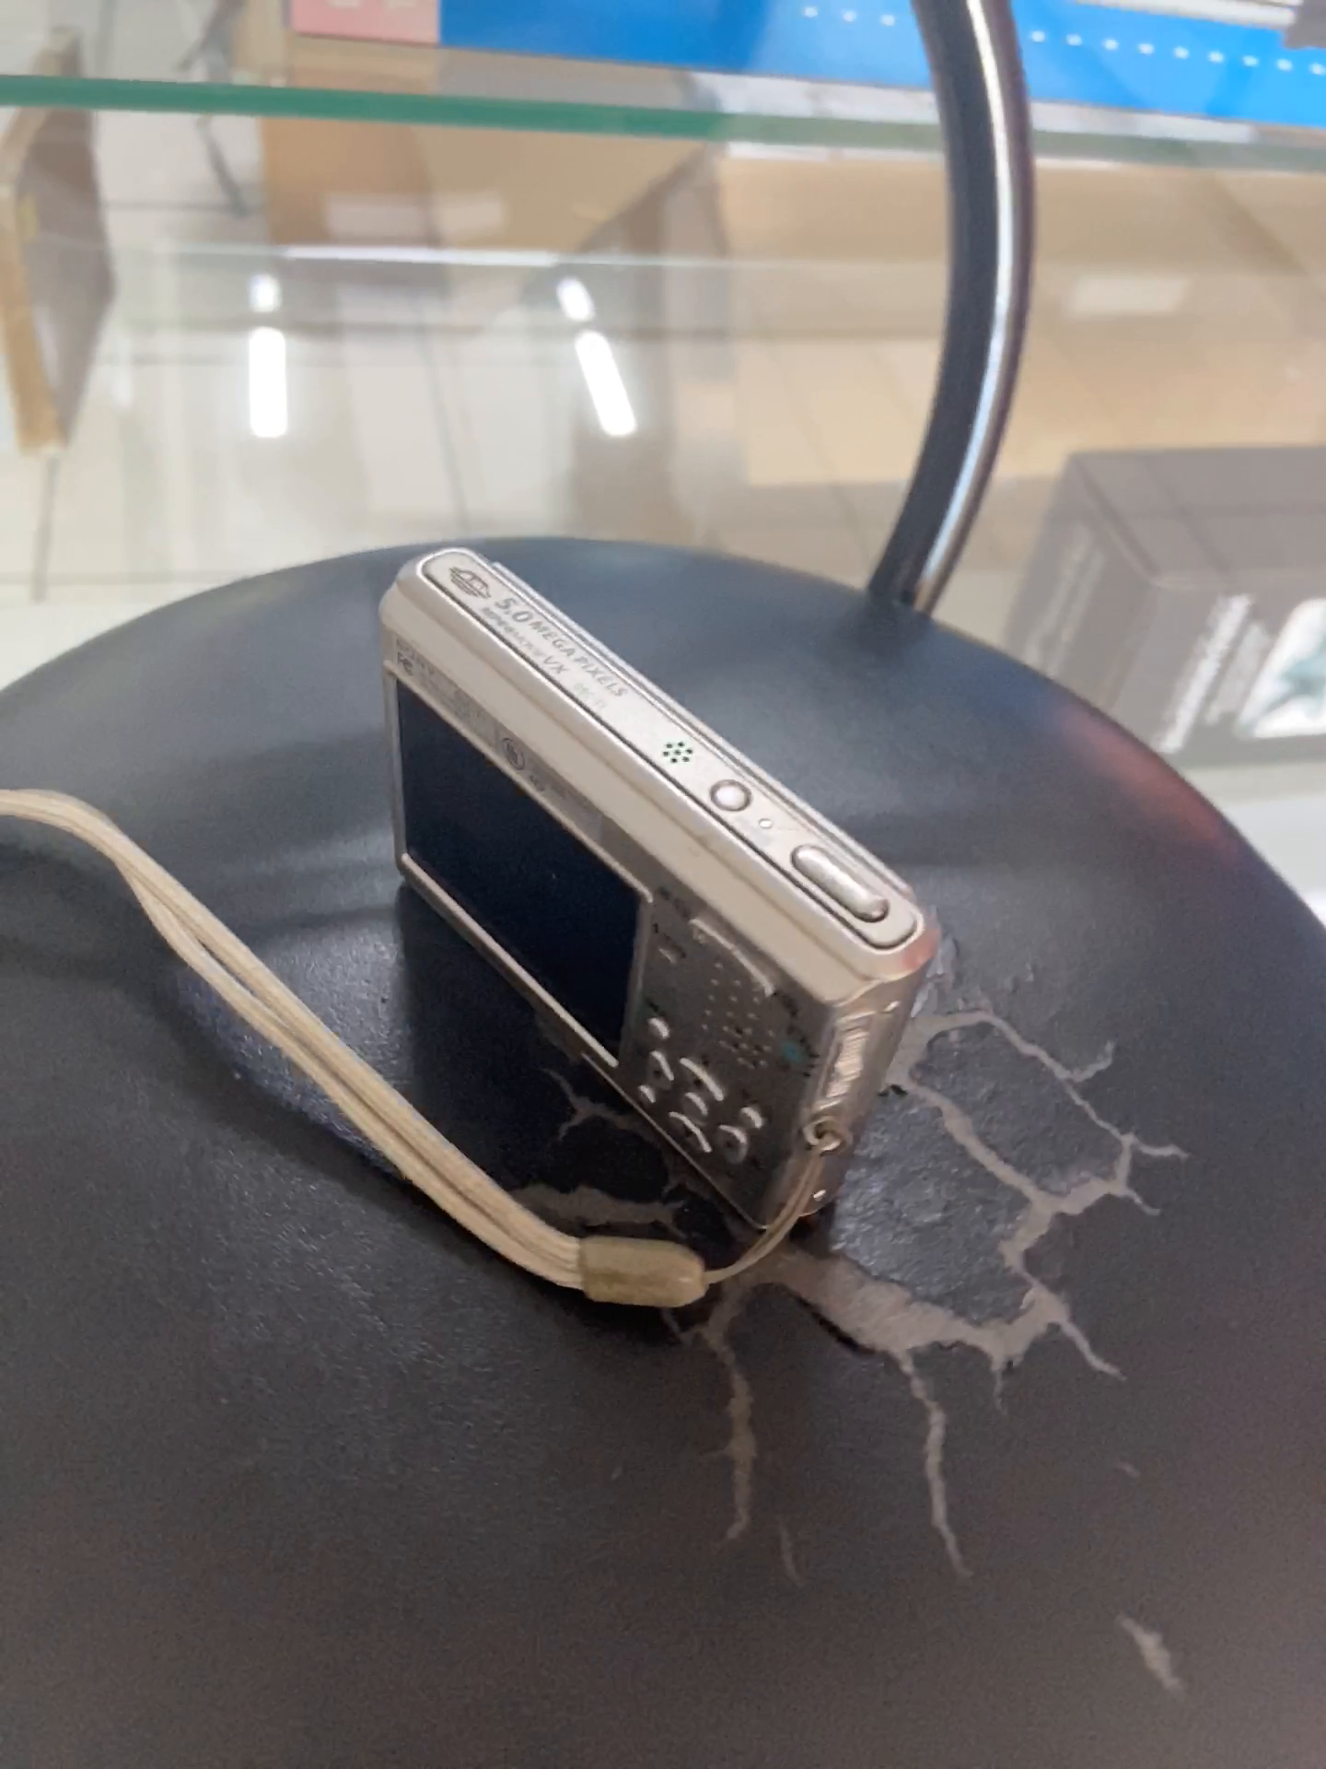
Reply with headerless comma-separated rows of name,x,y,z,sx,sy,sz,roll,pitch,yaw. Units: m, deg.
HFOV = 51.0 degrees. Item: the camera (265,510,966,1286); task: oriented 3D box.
camera,-0.013,0.000,0.201,0.030,0.060,0.100,-34,61,-32
